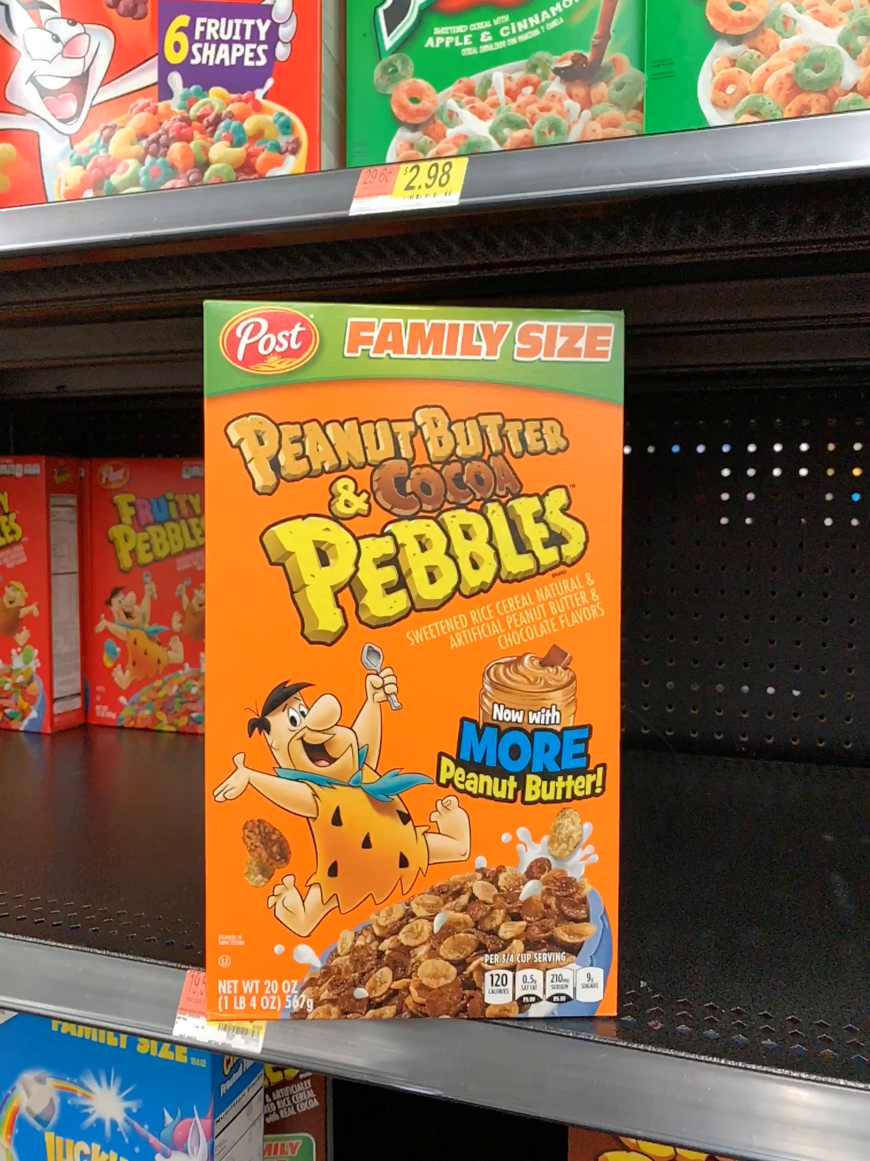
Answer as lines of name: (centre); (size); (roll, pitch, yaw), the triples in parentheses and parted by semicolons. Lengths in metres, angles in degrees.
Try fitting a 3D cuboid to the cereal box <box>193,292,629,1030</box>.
cereal box: (-0.011, 0.038, 0.447); (0.200, 0.340, 0.060); (0, 2, -3)
